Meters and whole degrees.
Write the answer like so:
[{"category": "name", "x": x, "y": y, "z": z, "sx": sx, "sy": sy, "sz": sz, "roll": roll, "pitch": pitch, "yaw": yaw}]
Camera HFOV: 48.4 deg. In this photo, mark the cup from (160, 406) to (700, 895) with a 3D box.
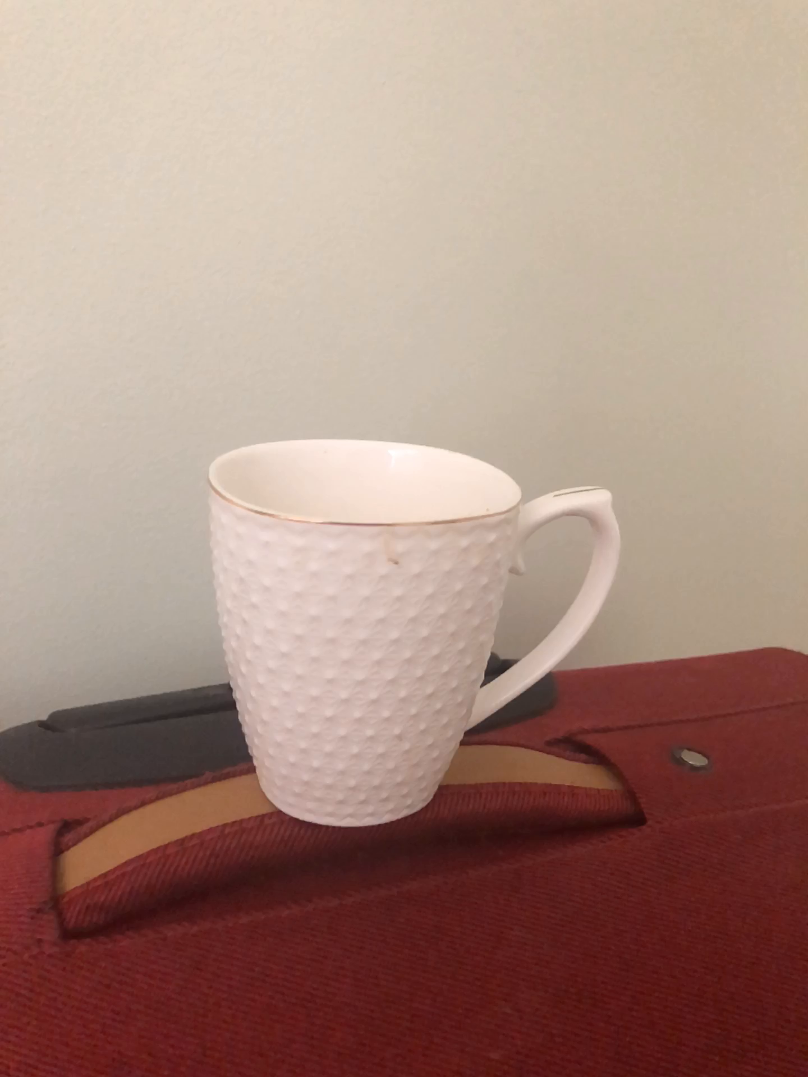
[{"category": "cup", "x": 0.002, "y": 0.019, "z": 0.237, "sx": 0.112, "sy": 0.084, "sz": 0.075, "roll": -8, "pitch": 24, "yaw": -27}]
